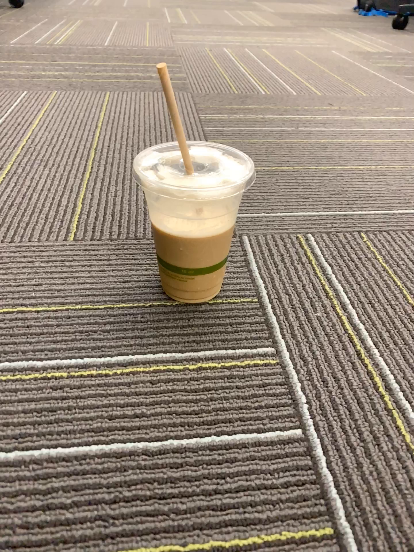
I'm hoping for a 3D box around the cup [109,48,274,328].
[{"bbox_3d":[-0.008,-0.066,0.340,0.090,0.189,0.090,1,37,-1],"label":"cup"}]
